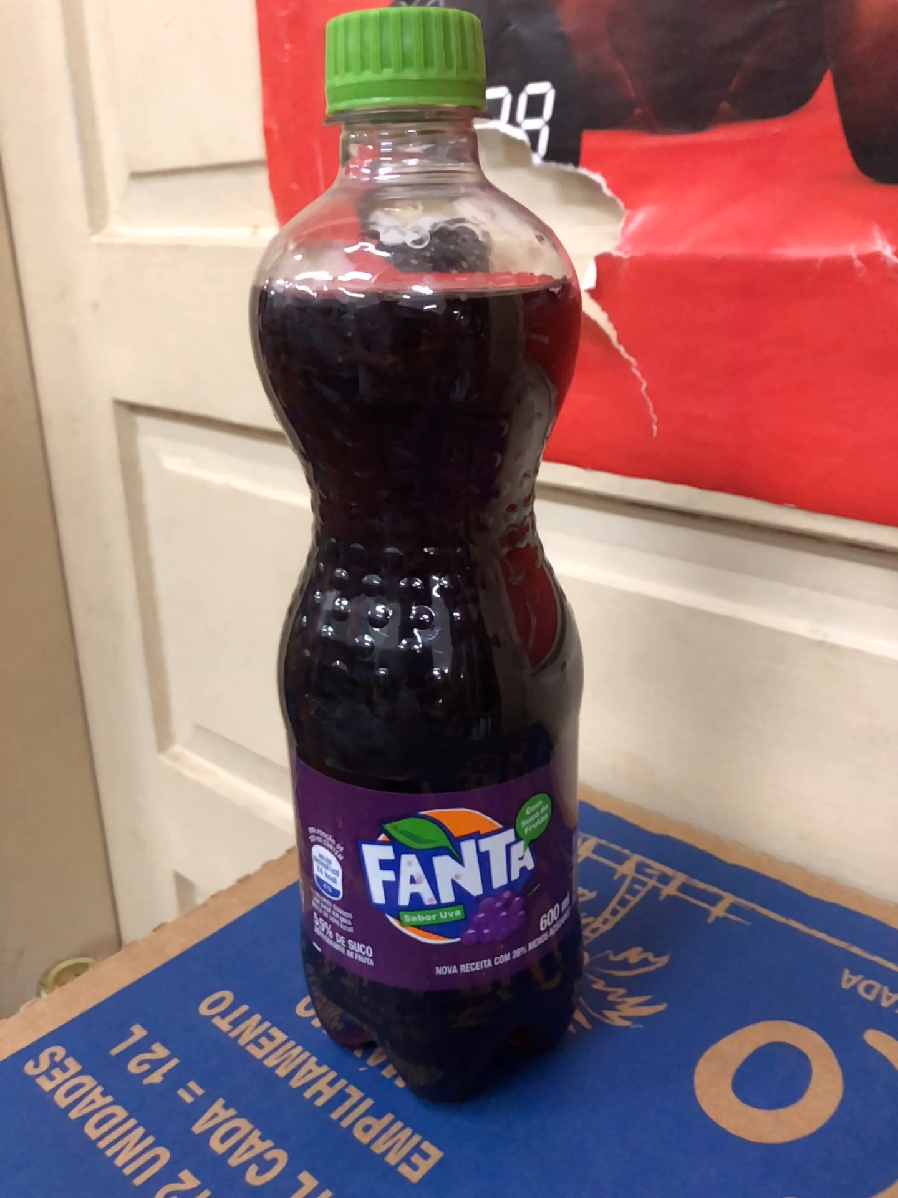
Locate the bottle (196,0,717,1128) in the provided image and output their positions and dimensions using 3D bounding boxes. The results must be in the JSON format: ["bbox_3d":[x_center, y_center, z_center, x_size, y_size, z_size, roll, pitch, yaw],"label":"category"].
[{"bbox_3d":[-0.001,-0.005,0.223,0.080,0.229,0.070,-3,19,-7],"label":"bottle"}]
